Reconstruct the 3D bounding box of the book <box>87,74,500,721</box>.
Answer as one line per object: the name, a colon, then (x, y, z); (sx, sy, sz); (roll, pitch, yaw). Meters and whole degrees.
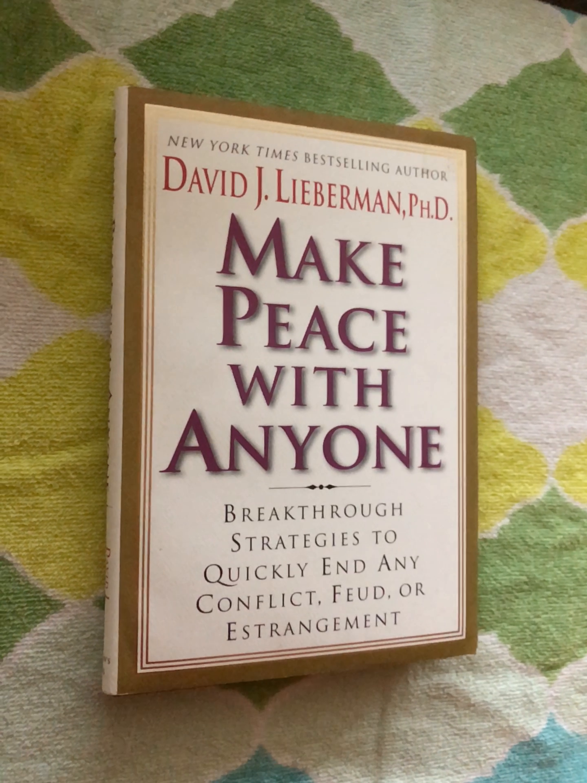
book: (0.002, 0.001, 0.241); (0.146, 0.030, 0.204); (1, 86, -17)
